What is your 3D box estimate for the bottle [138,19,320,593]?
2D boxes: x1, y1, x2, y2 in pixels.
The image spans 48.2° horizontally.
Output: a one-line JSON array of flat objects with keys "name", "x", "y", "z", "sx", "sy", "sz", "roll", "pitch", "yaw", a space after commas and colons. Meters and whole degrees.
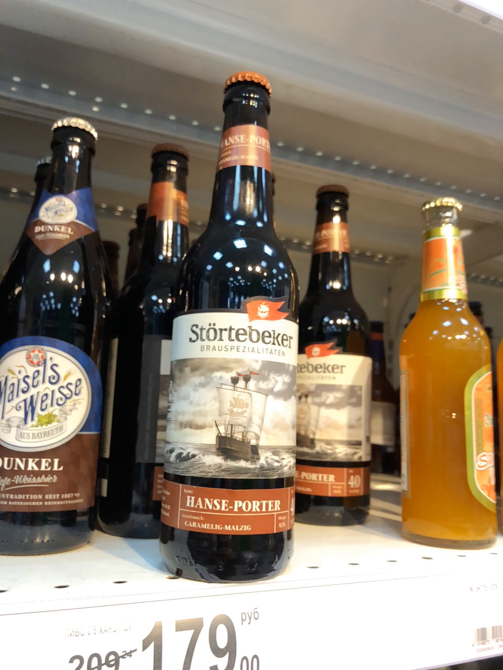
[{"name": "bottle", "x": -0.012, "y": -0.018, "z": 0.312, "sx": 0.070, "sy": 0.281, "sz": 0.070, "roll": 3, "pitch": -9, "yaw": 0}]
